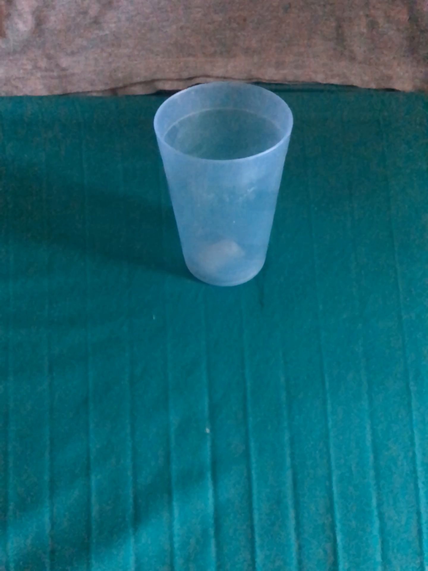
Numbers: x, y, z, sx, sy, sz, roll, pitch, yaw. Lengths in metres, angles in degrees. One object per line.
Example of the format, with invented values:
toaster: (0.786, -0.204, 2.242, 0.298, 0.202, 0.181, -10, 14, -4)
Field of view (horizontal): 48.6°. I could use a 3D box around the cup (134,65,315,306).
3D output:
cup: (0.007, -0.050, 0.272, 0.078, 0.119, 0.066, 3, 55, 3)
